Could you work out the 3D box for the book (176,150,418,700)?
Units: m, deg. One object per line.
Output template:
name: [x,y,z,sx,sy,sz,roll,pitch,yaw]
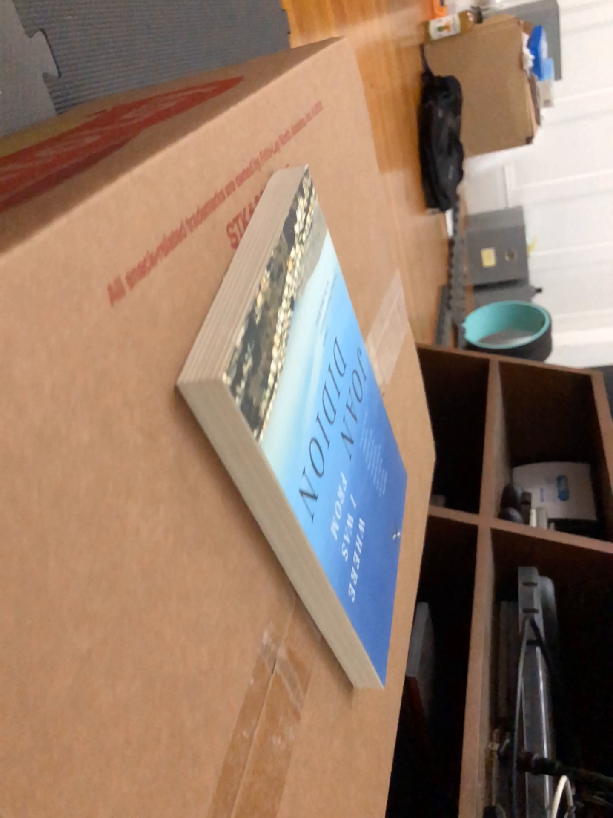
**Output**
book: [0.016,0.016,0.307,0.140,0.020,0.210,-76,153,-43]
